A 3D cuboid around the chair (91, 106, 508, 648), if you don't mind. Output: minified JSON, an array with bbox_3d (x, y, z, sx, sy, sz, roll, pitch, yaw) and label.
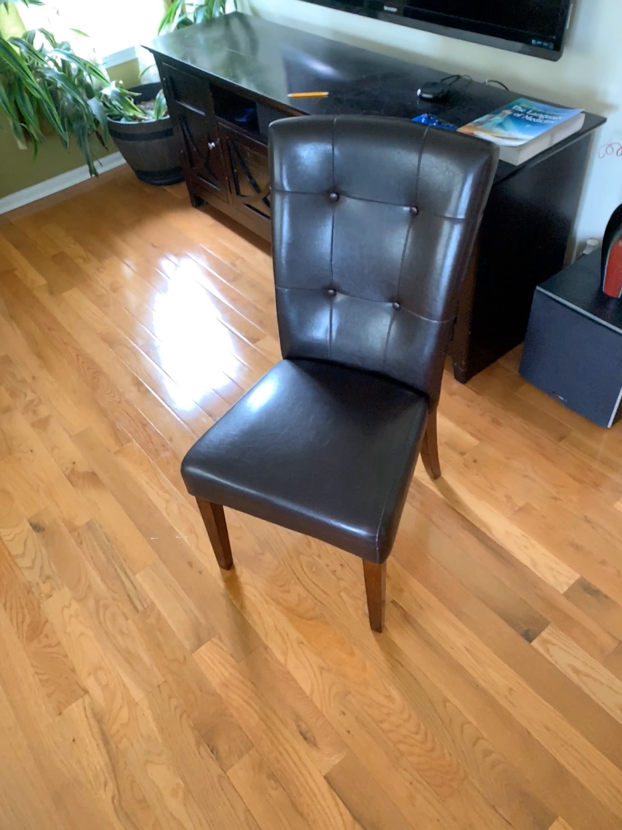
[{"bbox_3d":[0.064,-0.069,1.503,0.498,0.969,0.706,16,51,22],"label":"chair"}]
